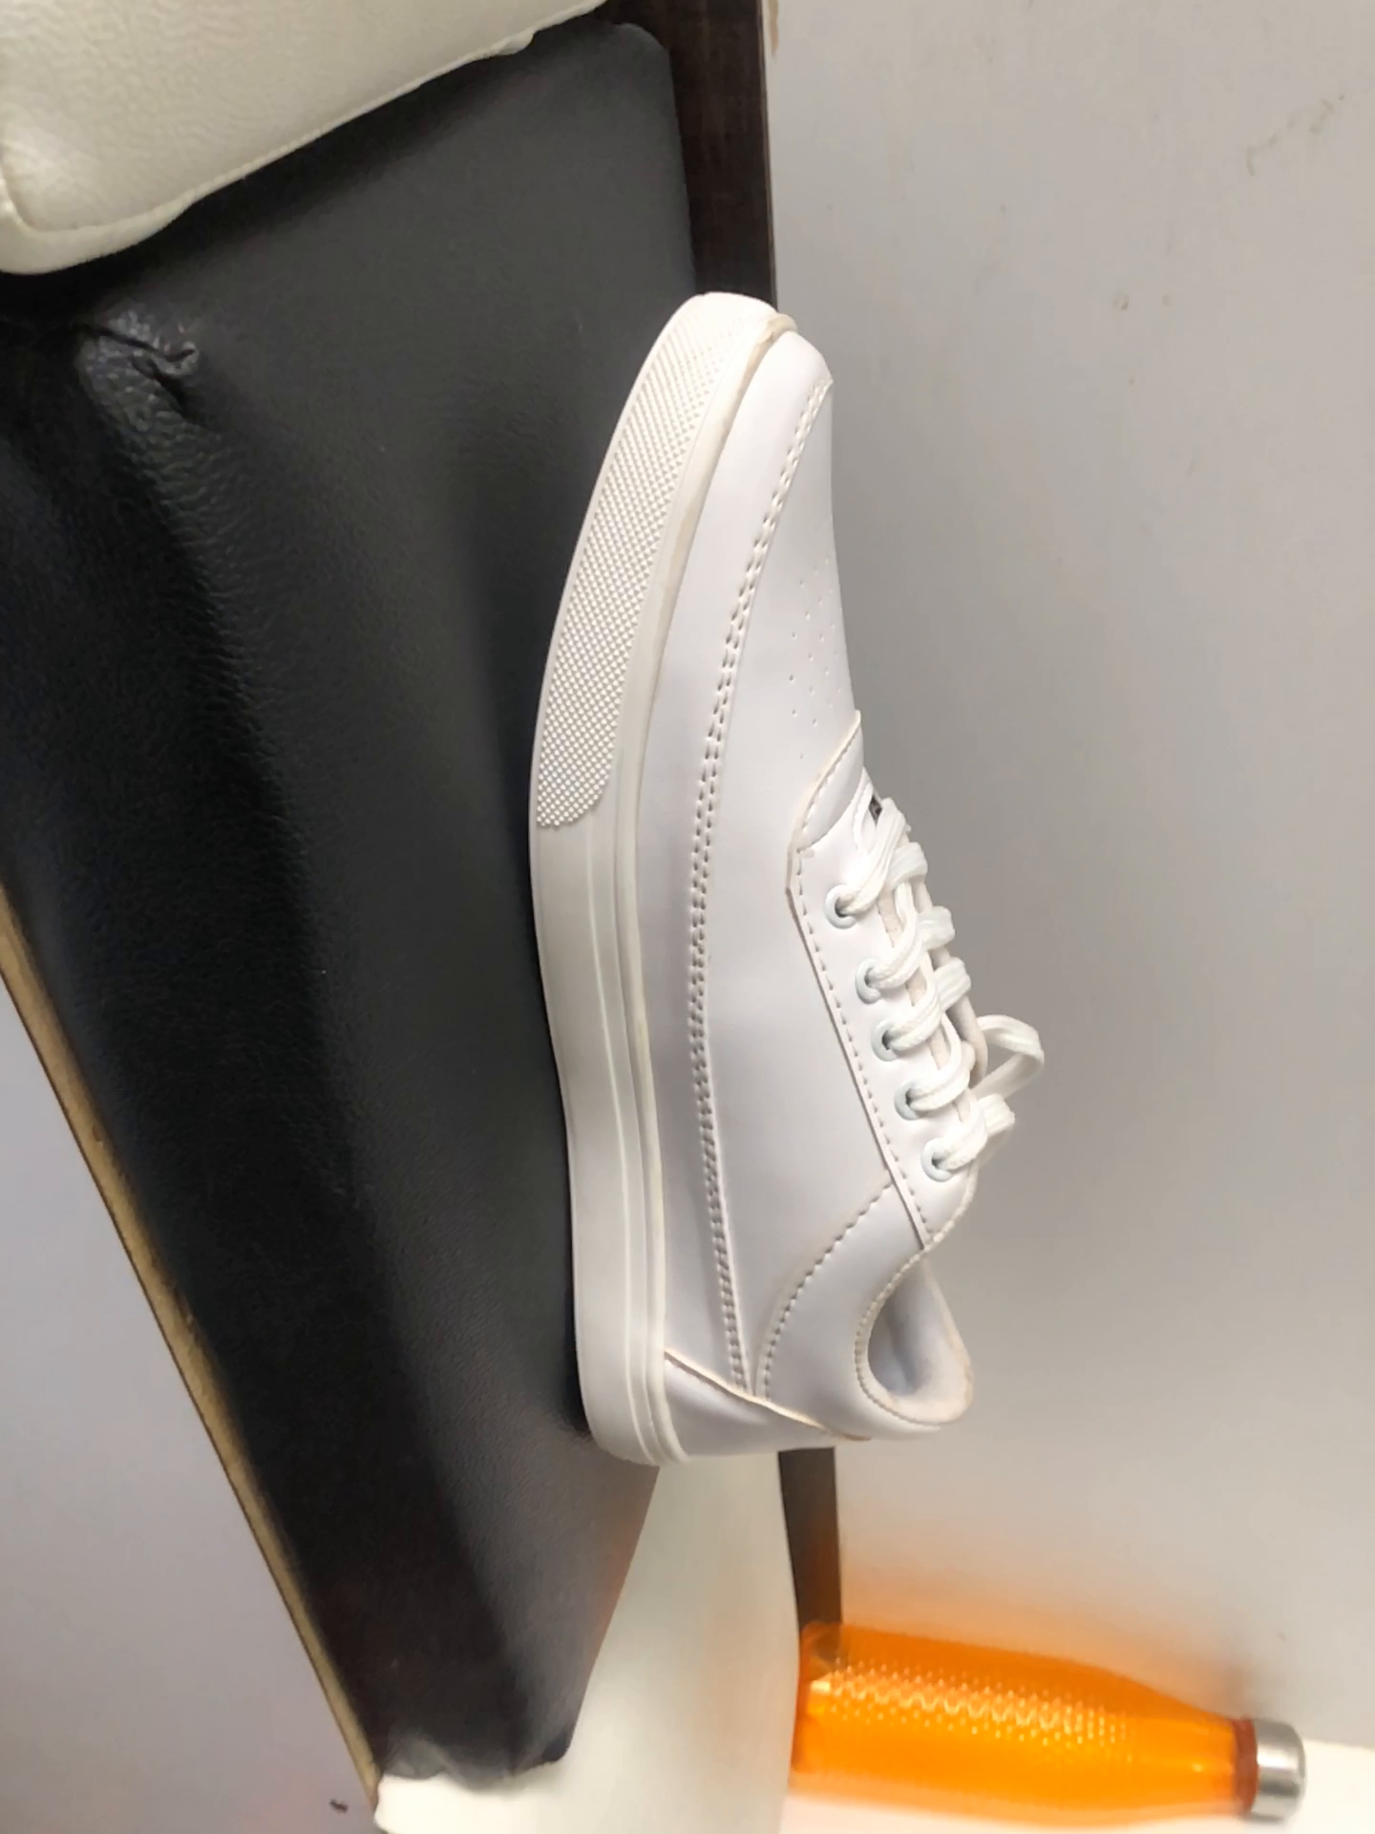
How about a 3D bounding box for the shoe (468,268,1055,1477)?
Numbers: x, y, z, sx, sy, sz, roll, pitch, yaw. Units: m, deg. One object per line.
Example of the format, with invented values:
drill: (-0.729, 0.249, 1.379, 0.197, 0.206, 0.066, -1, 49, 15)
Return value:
shoe: (0.034, -0.009, 0.411, 0.130, 0.110, 0.290, -67, 156, -58)
